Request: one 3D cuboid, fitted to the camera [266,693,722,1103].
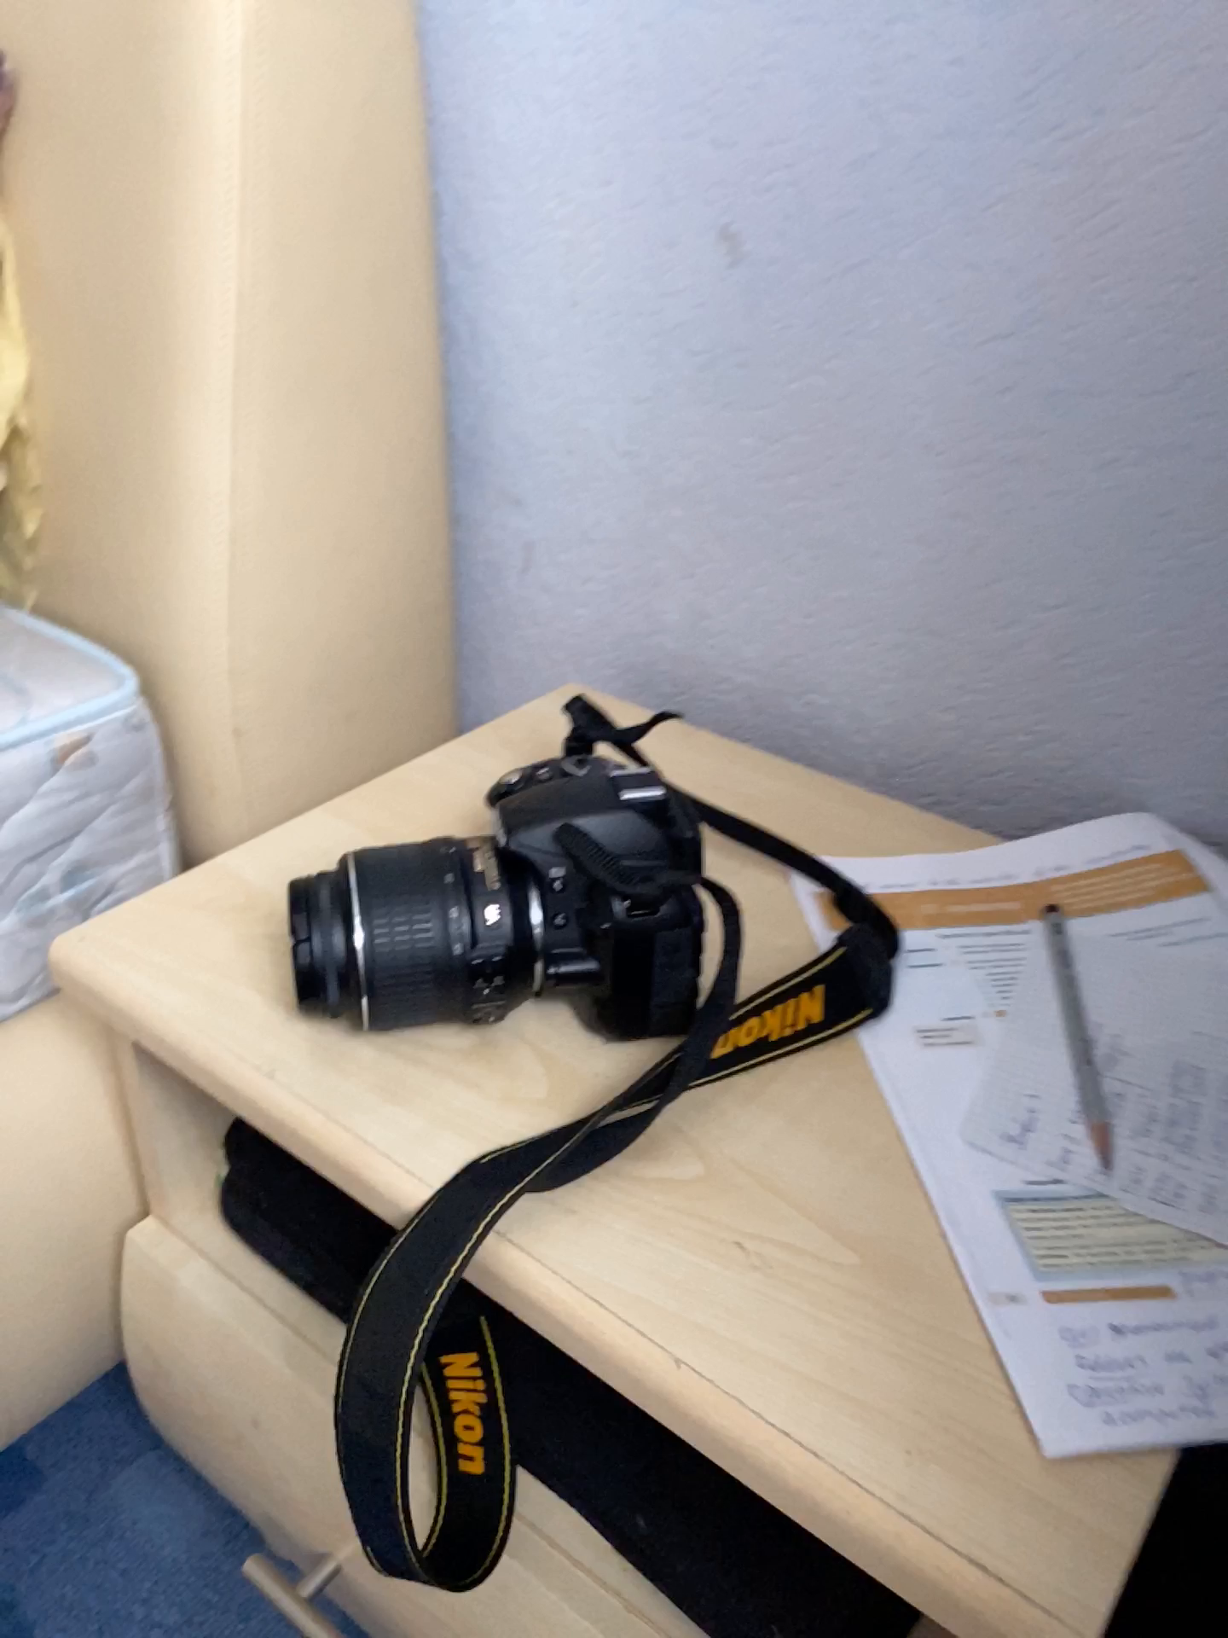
[{"bbox_3d":[-0.052,0.024,0.496,0.152,0.091,0.119,-7,32,-14],"label":"camera"}]
